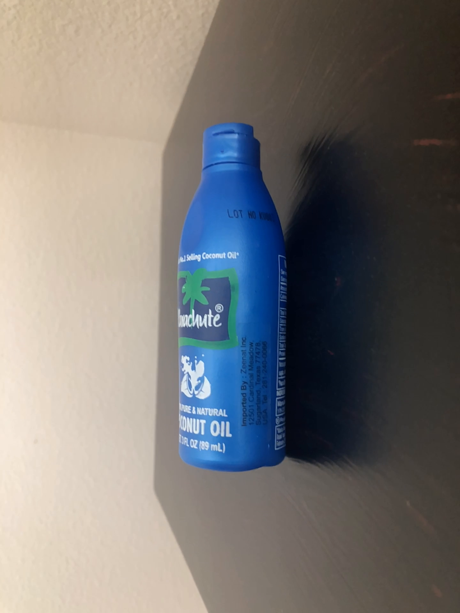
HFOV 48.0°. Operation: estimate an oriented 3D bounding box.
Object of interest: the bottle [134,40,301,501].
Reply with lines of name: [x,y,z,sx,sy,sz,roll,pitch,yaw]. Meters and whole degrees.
bottle: [-0.004,-0.011,0.184,0.040,0.040,0.140,-3,85,47]
